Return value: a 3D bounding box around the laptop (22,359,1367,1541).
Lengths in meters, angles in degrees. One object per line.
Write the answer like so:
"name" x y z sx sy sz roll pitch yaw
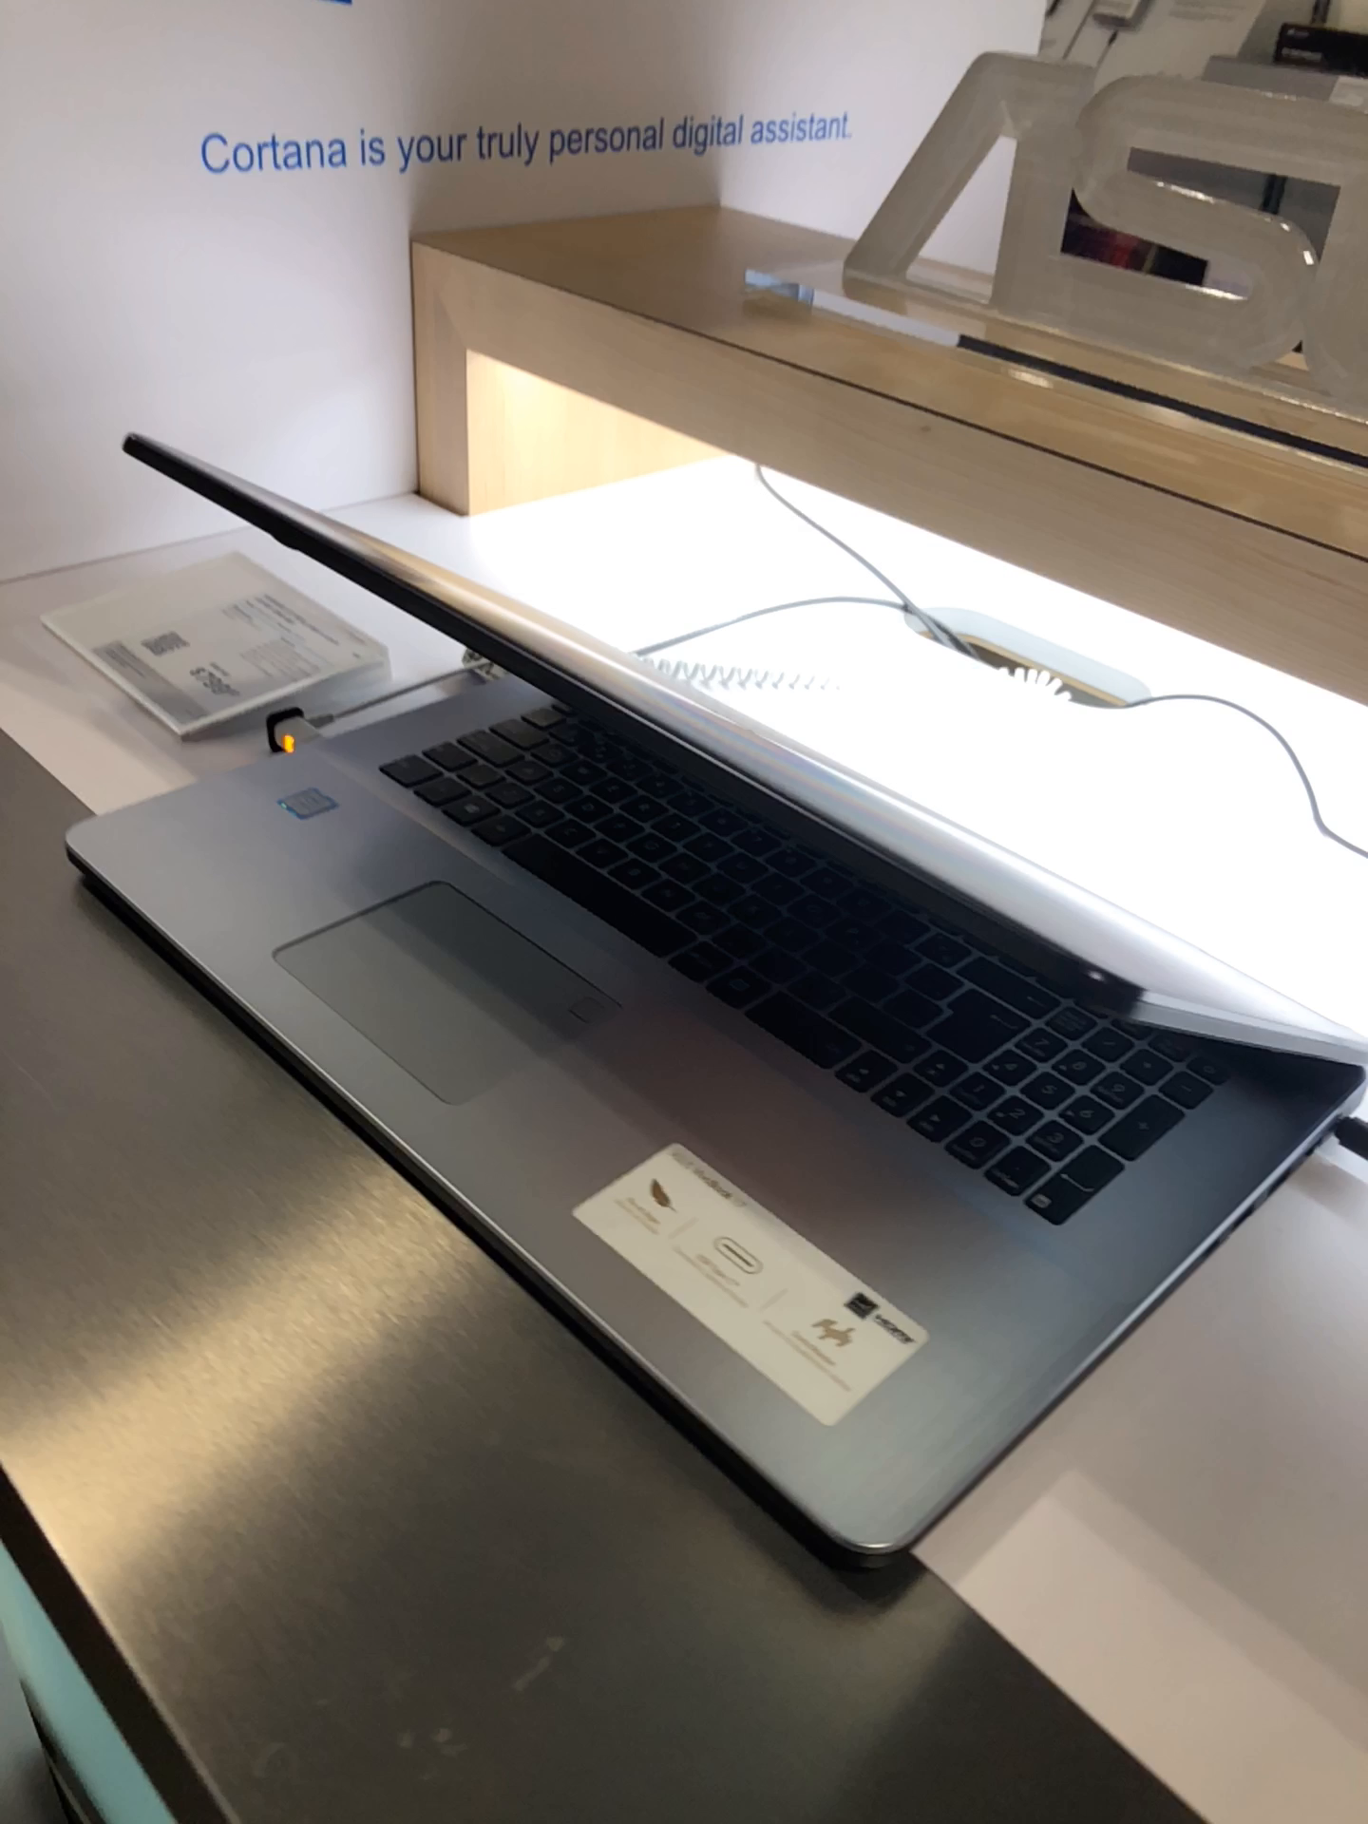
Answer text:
"laptop" 0.005 -0.046 0.501 0.259 0.144 0.392 -26 45 -36
